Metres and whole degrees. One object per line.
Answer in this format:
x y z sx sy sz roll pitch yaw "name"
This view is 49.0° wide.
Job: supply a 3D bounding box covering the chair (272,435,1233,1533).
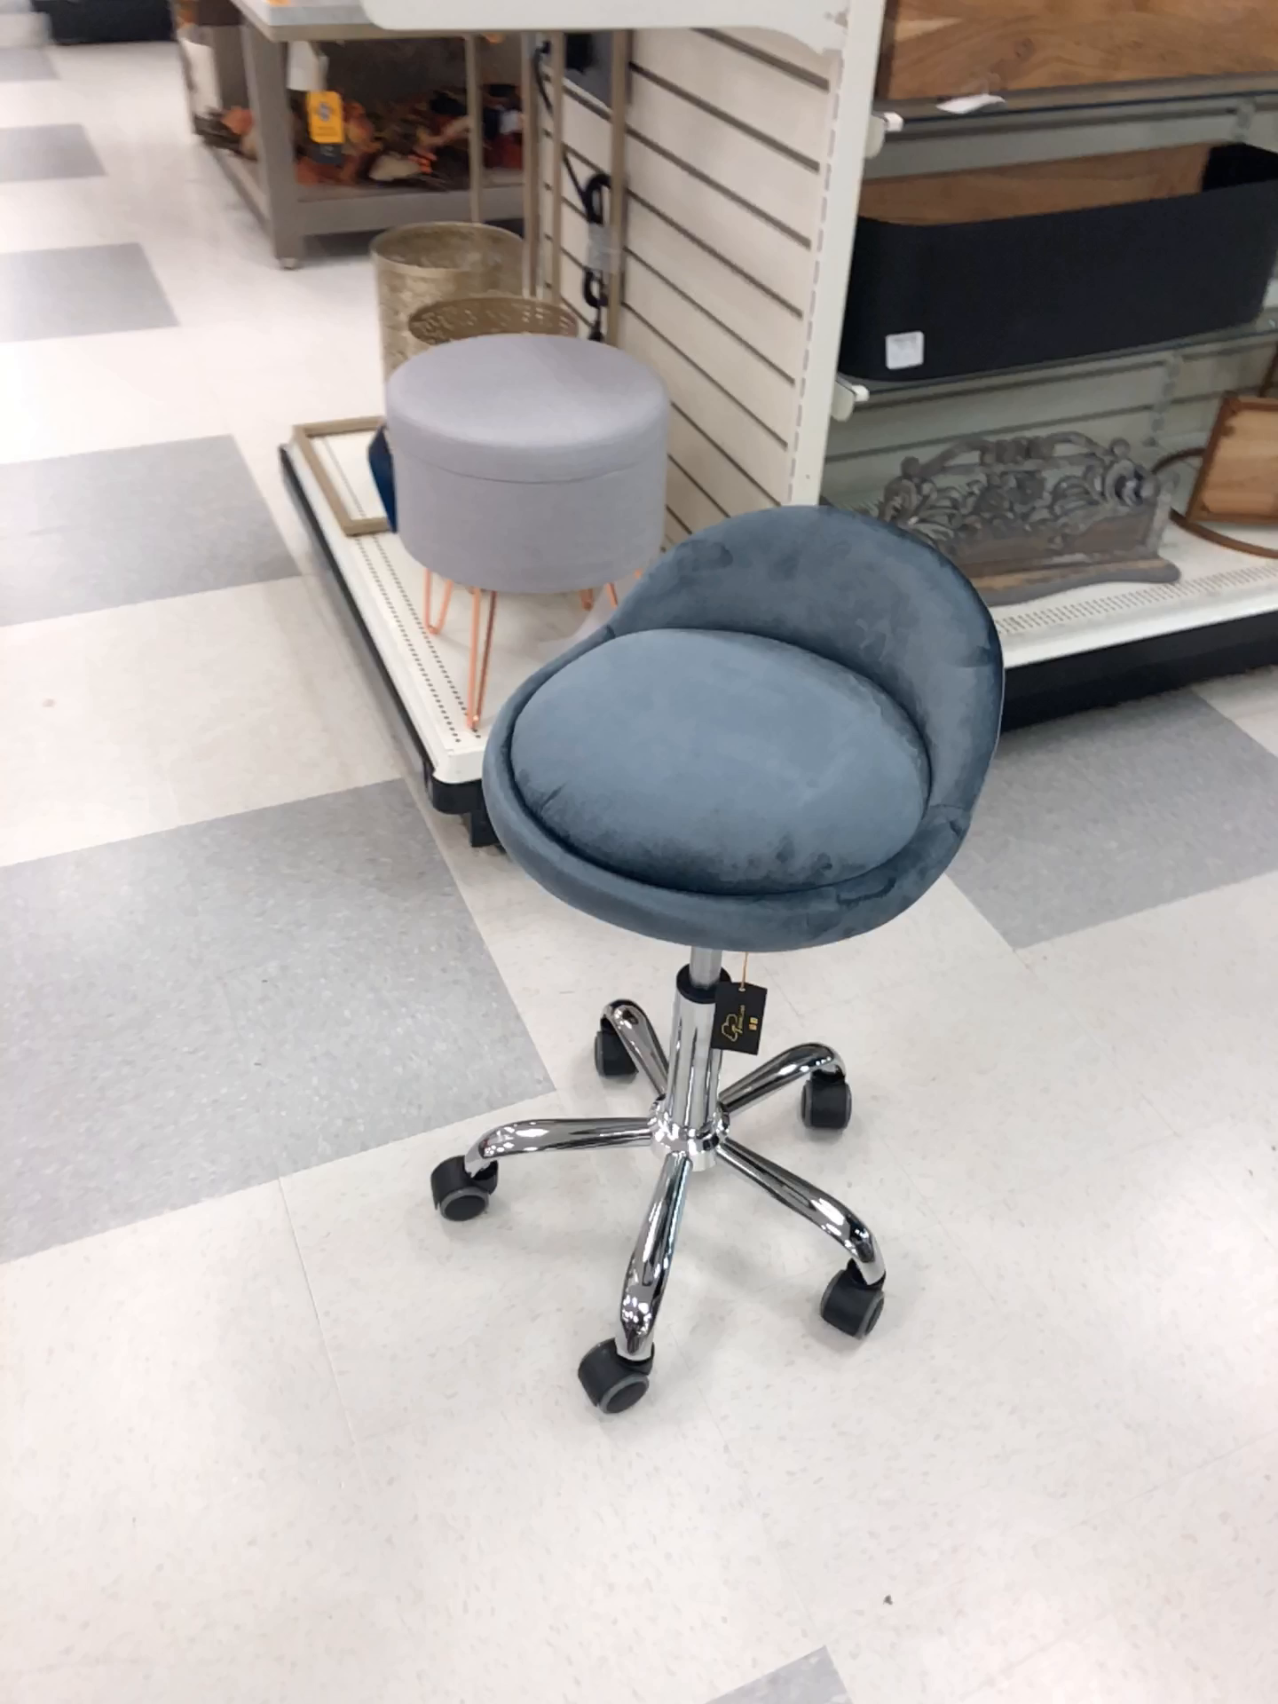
0.068 0.089 1.188 0.484 0.630 0.475 -29 49 -32 "chair"
